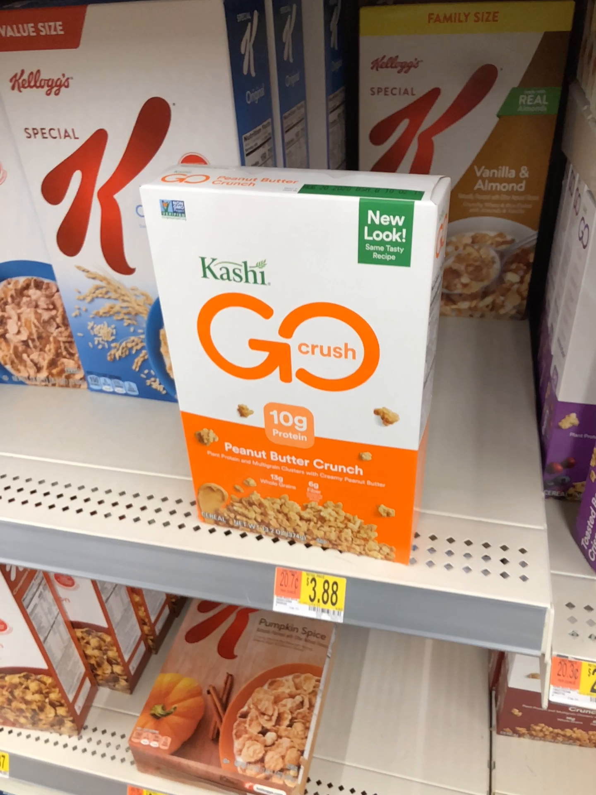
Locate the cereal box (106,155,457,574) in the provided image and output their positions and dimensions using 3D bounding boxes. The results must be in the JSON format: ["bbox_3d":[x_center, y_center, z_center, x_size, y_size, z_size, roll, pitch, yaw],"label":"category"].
[{"bbox_3d":[-0.002,-0.011,0.405,0.170,0.249,0.050,8,37,17],"label":"cereal box"}]
